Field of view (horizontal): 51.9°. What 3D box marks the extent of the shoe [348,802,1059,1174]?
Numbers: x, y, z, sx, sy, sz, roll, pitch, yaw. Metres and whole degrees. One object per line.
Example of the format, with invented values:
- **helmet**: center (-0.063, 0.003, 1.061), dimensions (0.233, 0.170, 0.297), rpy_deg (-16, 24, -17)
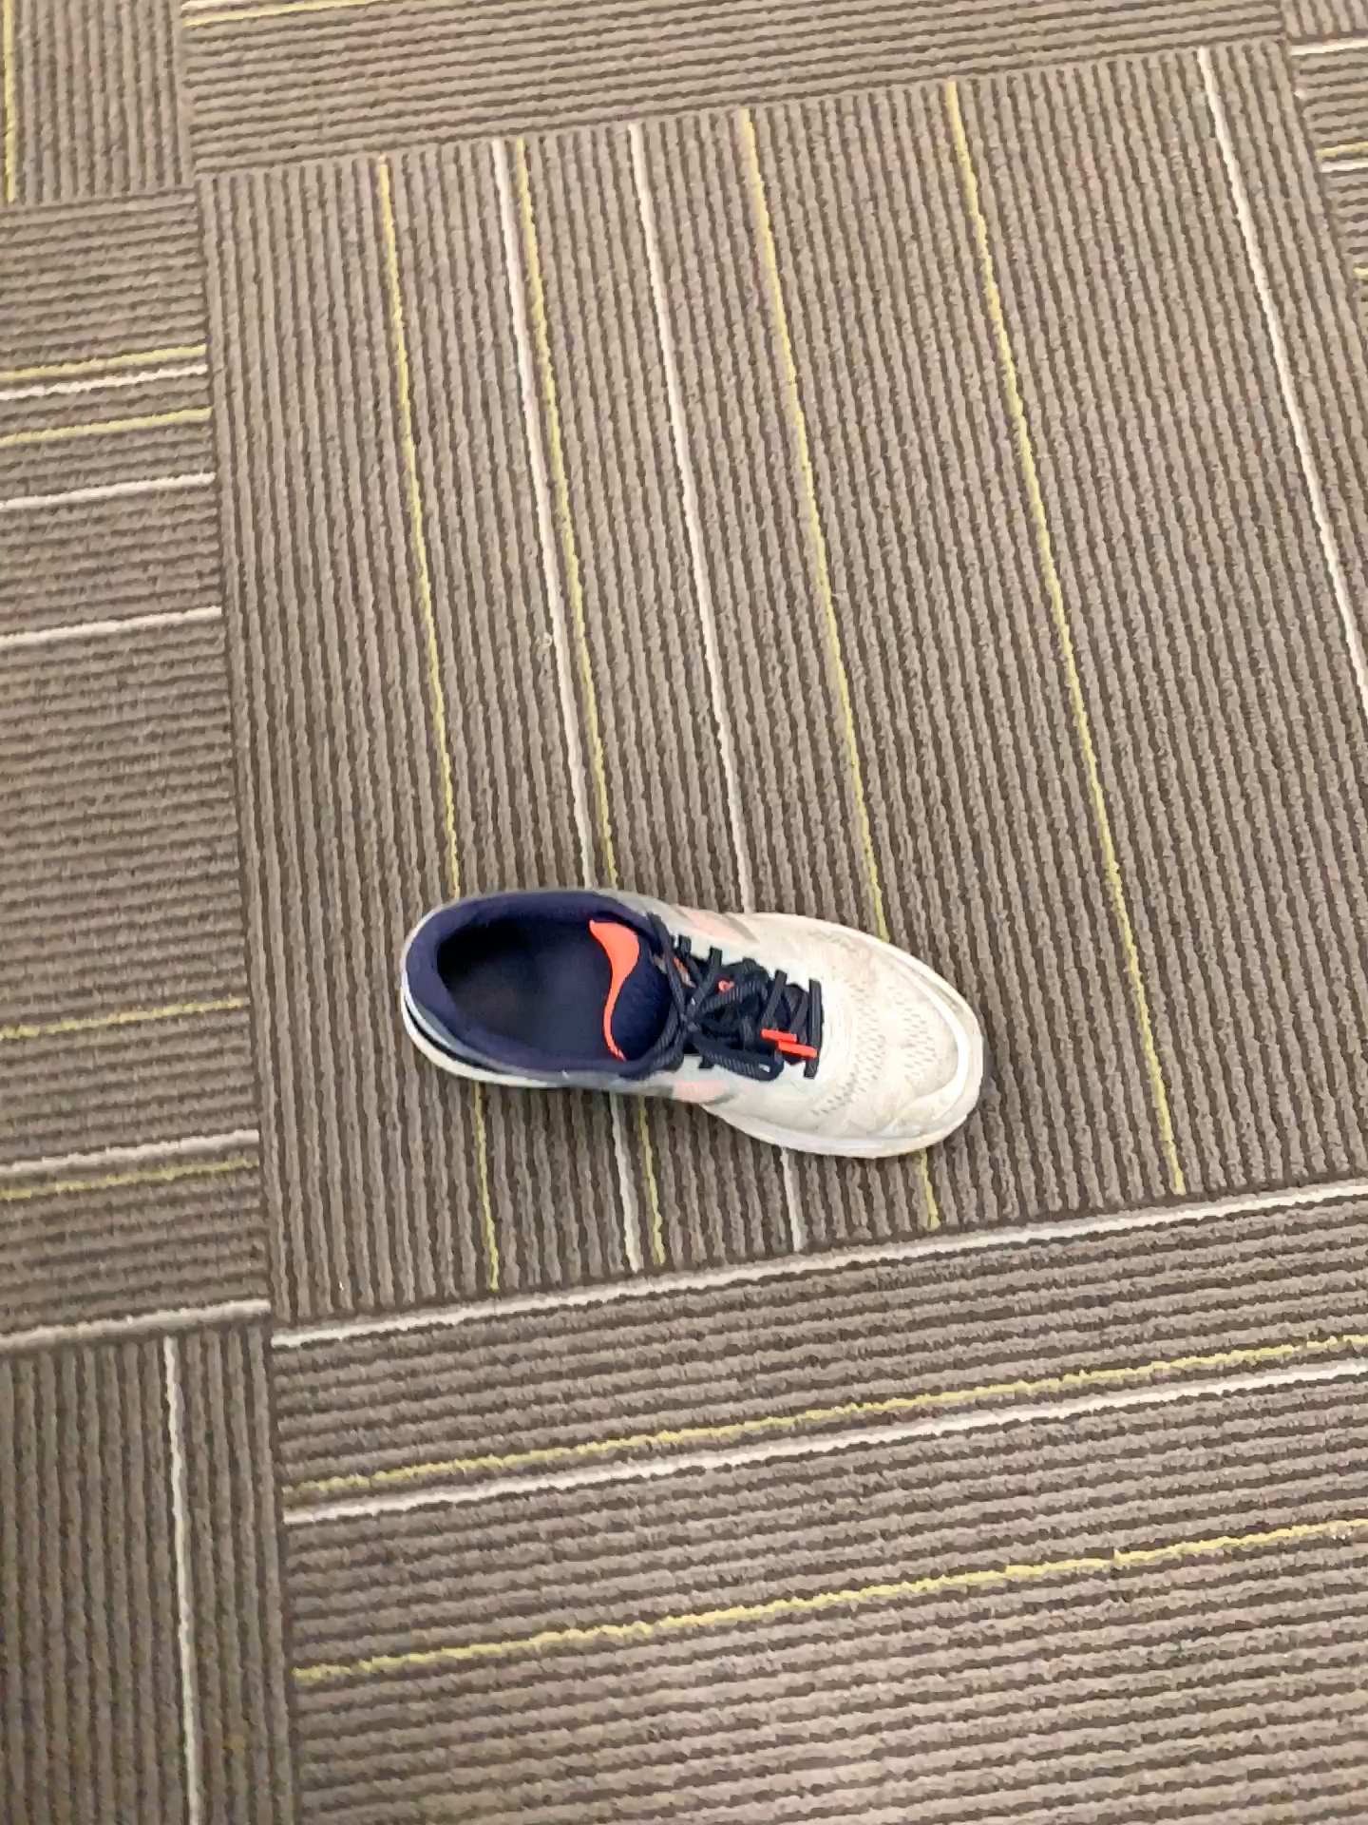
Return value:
- **shoe**: center (0.010, 0.037, 0.595), dimensions (0.260, 0.120, 0.110), rpy_deg (7, 78, 3)
